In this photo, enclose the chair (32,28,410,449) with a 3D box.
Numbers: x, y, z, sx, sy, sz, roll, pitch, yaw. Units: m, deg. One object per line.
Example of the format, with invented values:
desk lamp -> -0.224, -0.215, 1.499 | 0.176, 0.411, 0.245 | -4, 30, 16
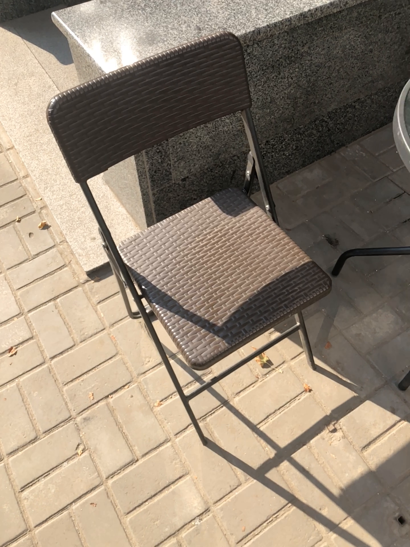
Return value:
chair -> 0.012, -0.019, 1.060 | 0.430, 0.778, 0.481 | -29, 59, -18
